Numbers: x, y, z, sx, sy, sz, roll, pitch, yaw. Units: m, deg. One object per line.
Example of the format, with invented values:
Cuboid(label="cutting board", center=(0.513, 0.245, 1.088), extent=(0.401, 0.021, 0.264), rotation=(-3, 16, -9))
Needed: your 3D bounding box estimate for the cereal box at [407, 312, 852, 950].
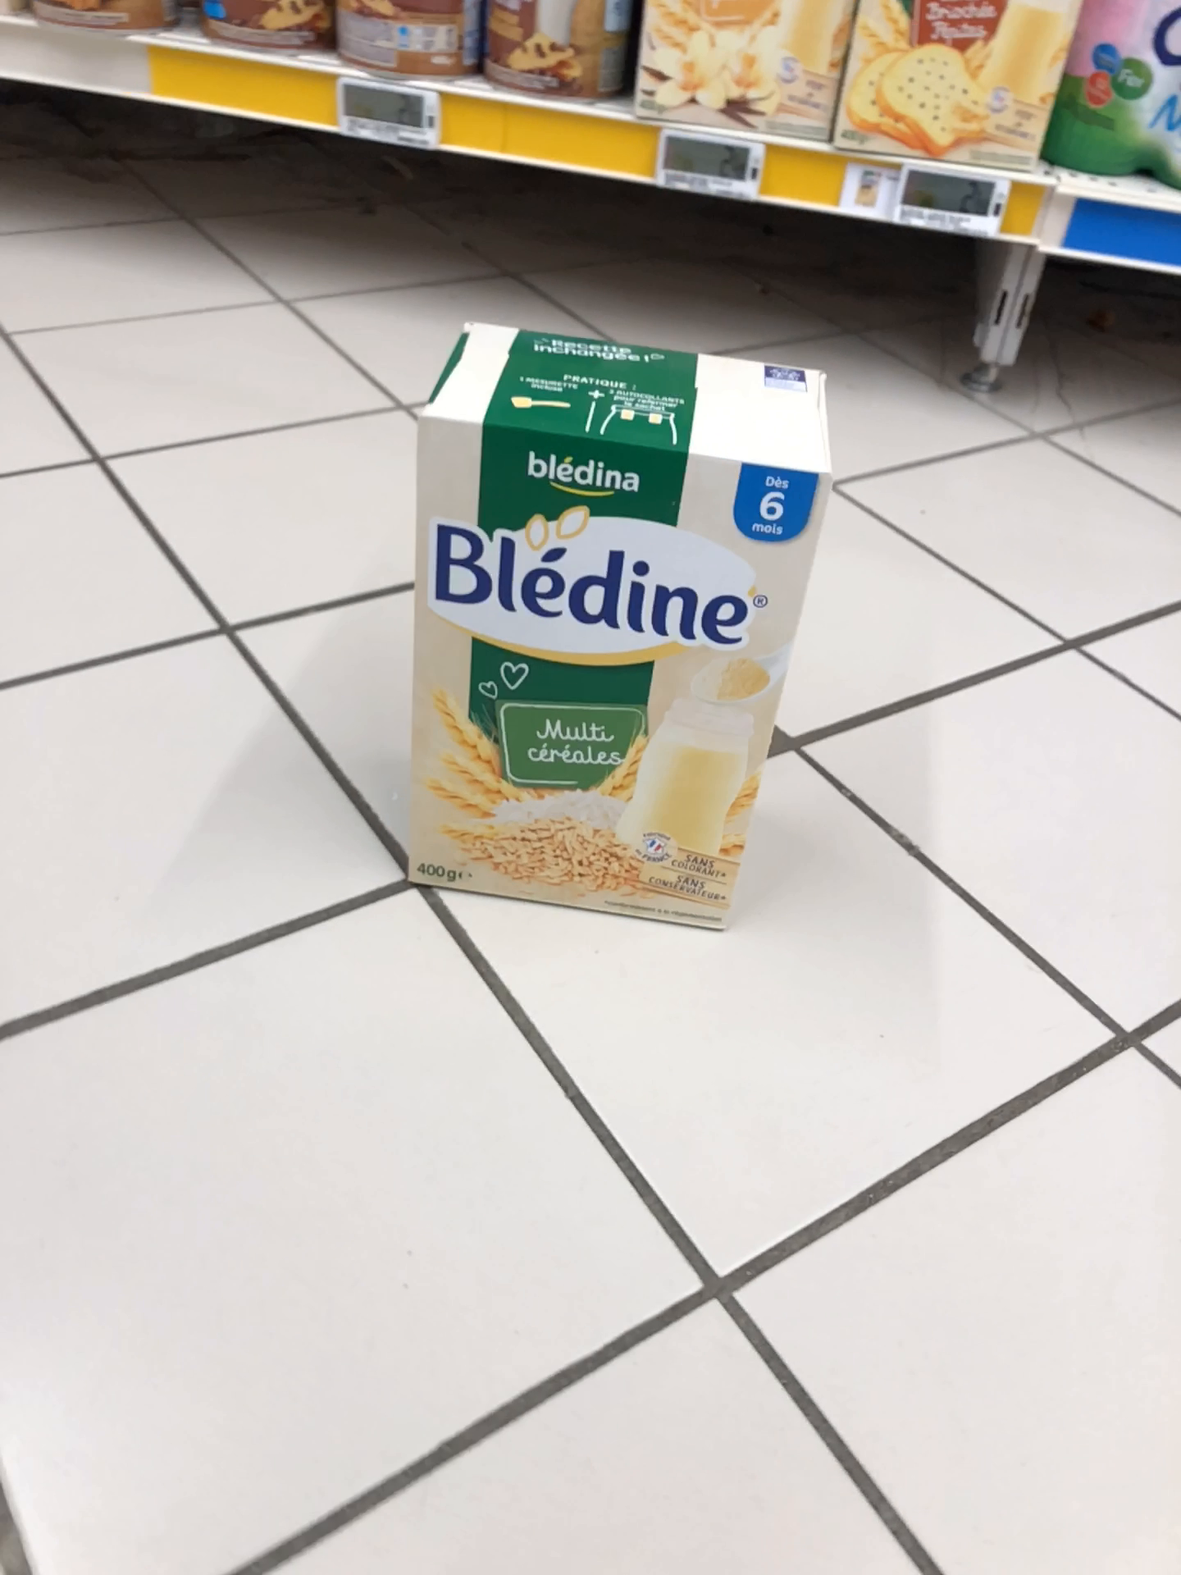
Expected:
Cuboid(label="cereal box", center=(0.008, -0.051, 0.480), extent=(0.130, 0.199, 0.091), rotation=(9, 39, 1))
